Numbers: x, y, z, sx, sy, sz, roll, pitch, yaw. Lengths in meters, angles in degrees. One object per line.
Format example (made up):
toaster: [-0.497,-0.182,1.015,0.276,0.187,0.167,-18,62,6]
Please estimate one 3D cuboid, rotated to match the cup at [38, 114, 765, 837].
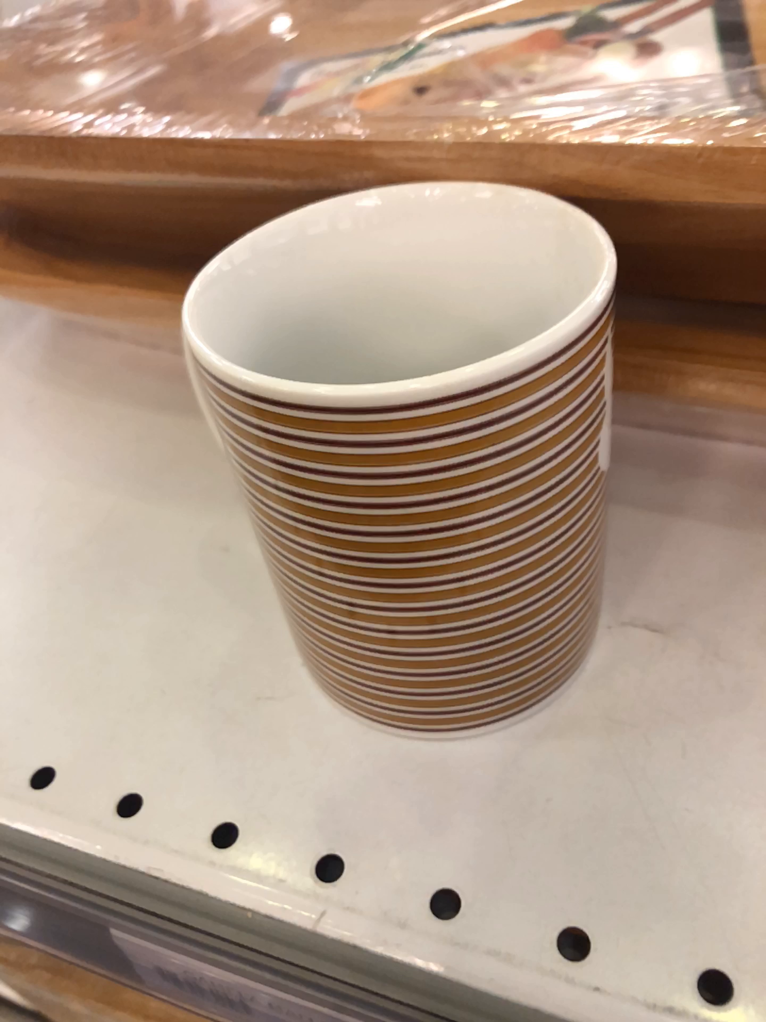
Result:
cup: [0.000,-0.019,0.198,0.090,0.089,0.121,-30,44,-20]
